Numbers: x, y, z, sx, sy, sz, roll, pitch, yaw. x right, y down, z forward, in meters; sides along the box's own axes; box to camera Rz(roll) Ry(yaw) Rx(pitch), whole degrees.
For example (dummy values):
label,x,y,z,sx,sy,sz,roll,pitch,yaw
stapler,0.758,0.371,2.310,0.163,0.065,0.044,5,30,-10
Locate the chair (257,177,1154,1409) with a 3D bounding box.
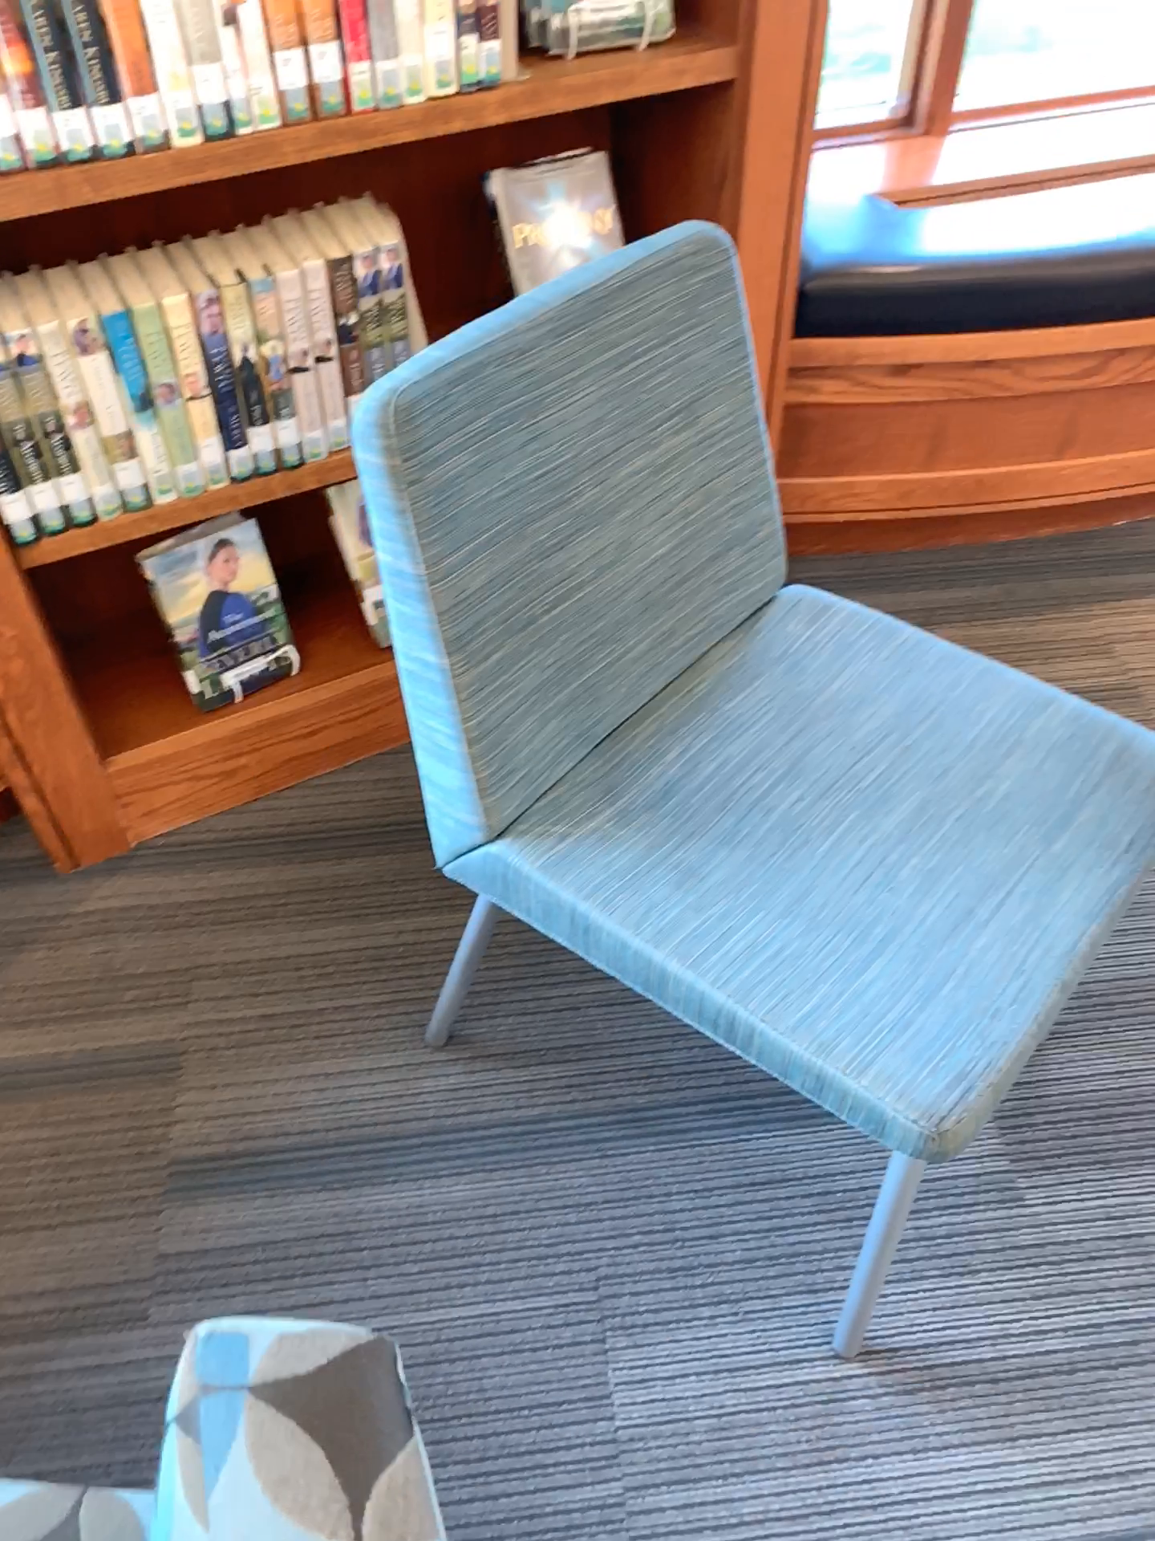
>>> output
label,x,y,z,sx,sy,sz,roll,pitch,yaw
chair,0.193,0.021,1.075,0.591,0.787,0.551,31,54,27
